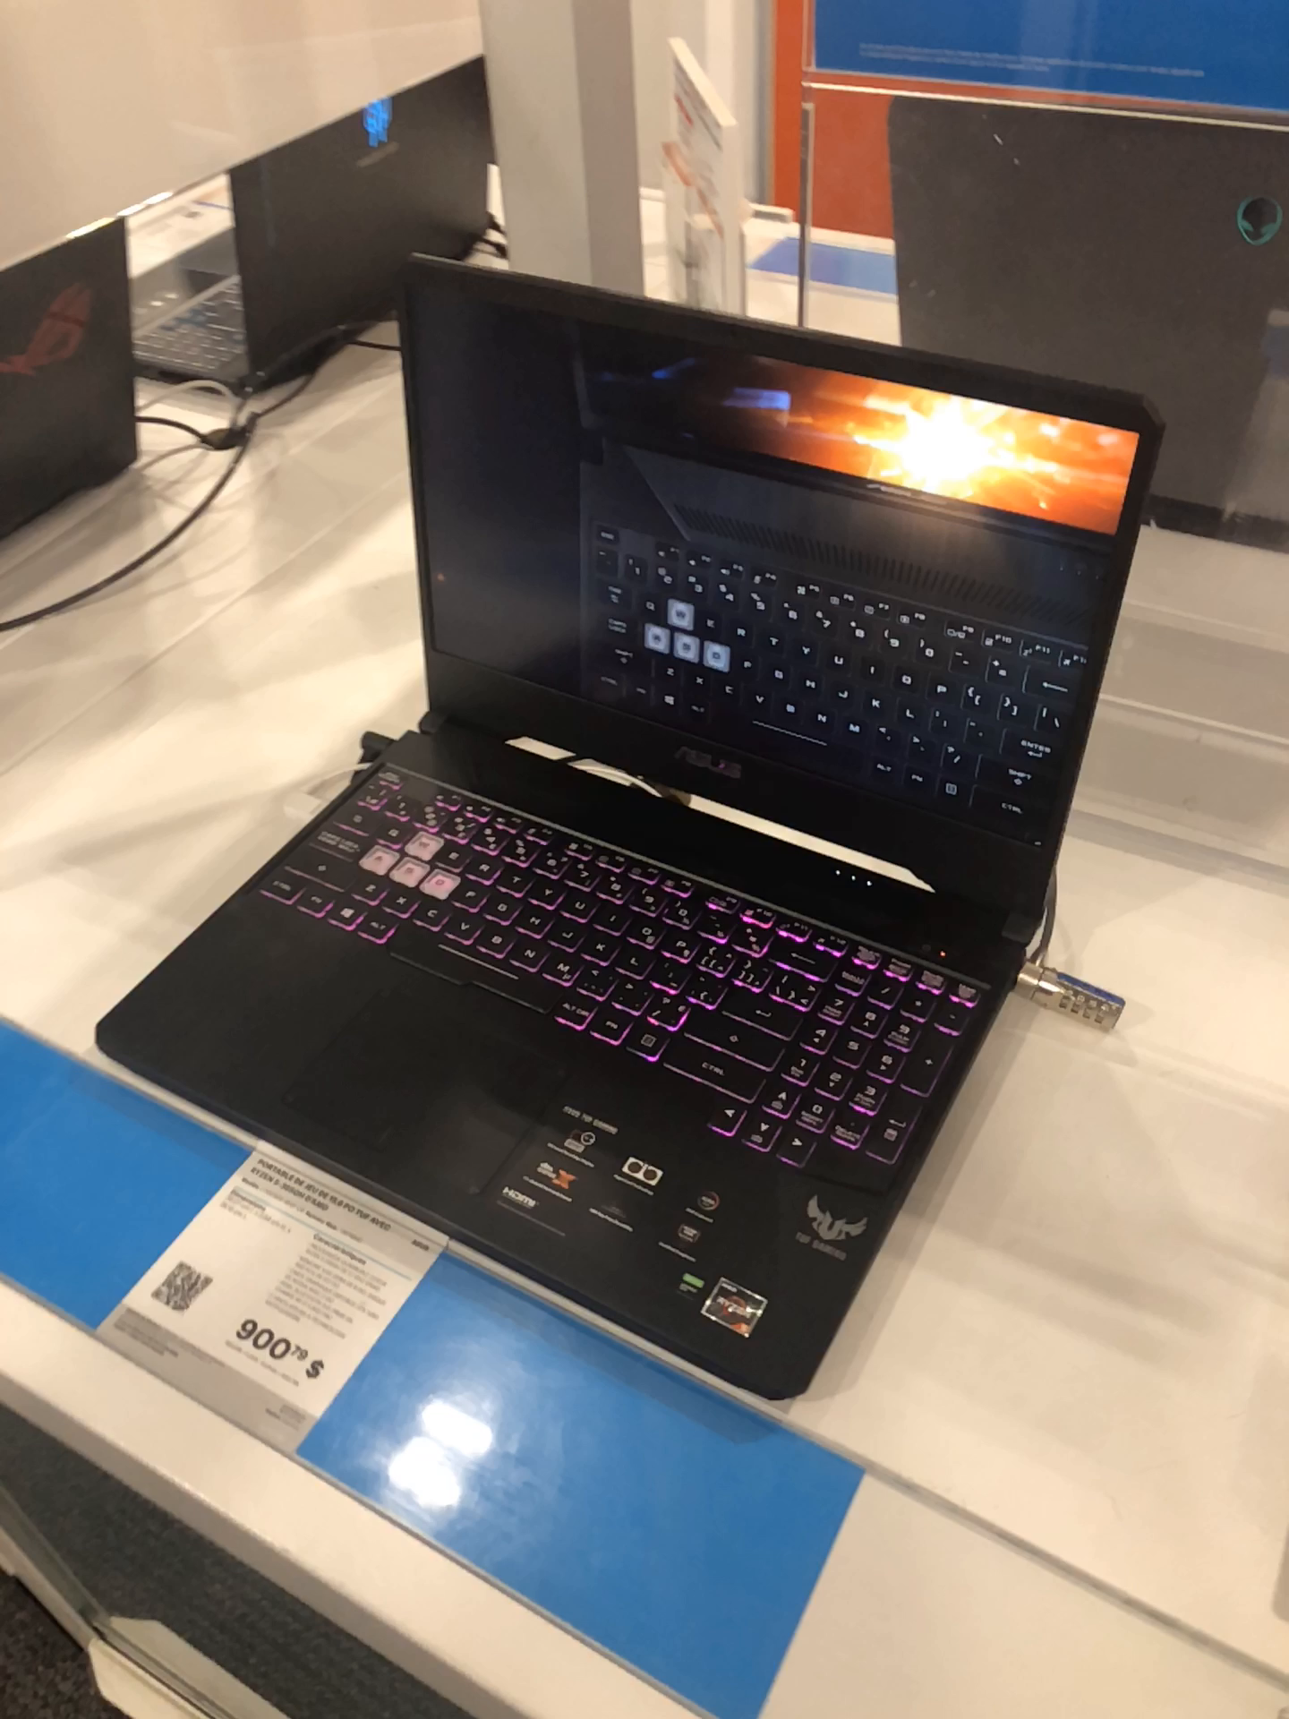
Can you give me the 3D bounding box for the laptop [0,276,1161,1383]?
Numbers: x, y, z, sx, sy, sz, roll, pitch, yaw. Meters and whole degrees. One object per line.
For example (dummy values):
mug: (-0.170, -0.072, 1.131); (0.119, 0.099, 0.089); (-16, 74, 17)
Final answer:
laptop: (-0.031, -0.043, 0.588); (0.351, 0.235, 0.302); (20, 48, 23)
